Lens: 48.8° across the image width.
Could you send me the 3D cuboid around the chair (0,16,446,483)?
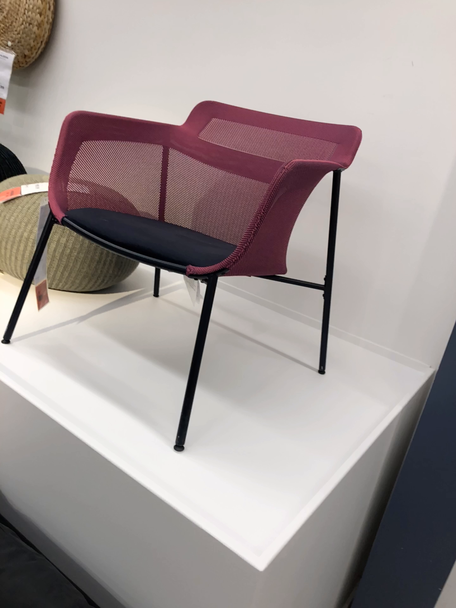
[{"bbox_3d":[-0.003,-0.229,1.425,0.781,0.747,1.013,22,21,29],"label":"chair"}]
